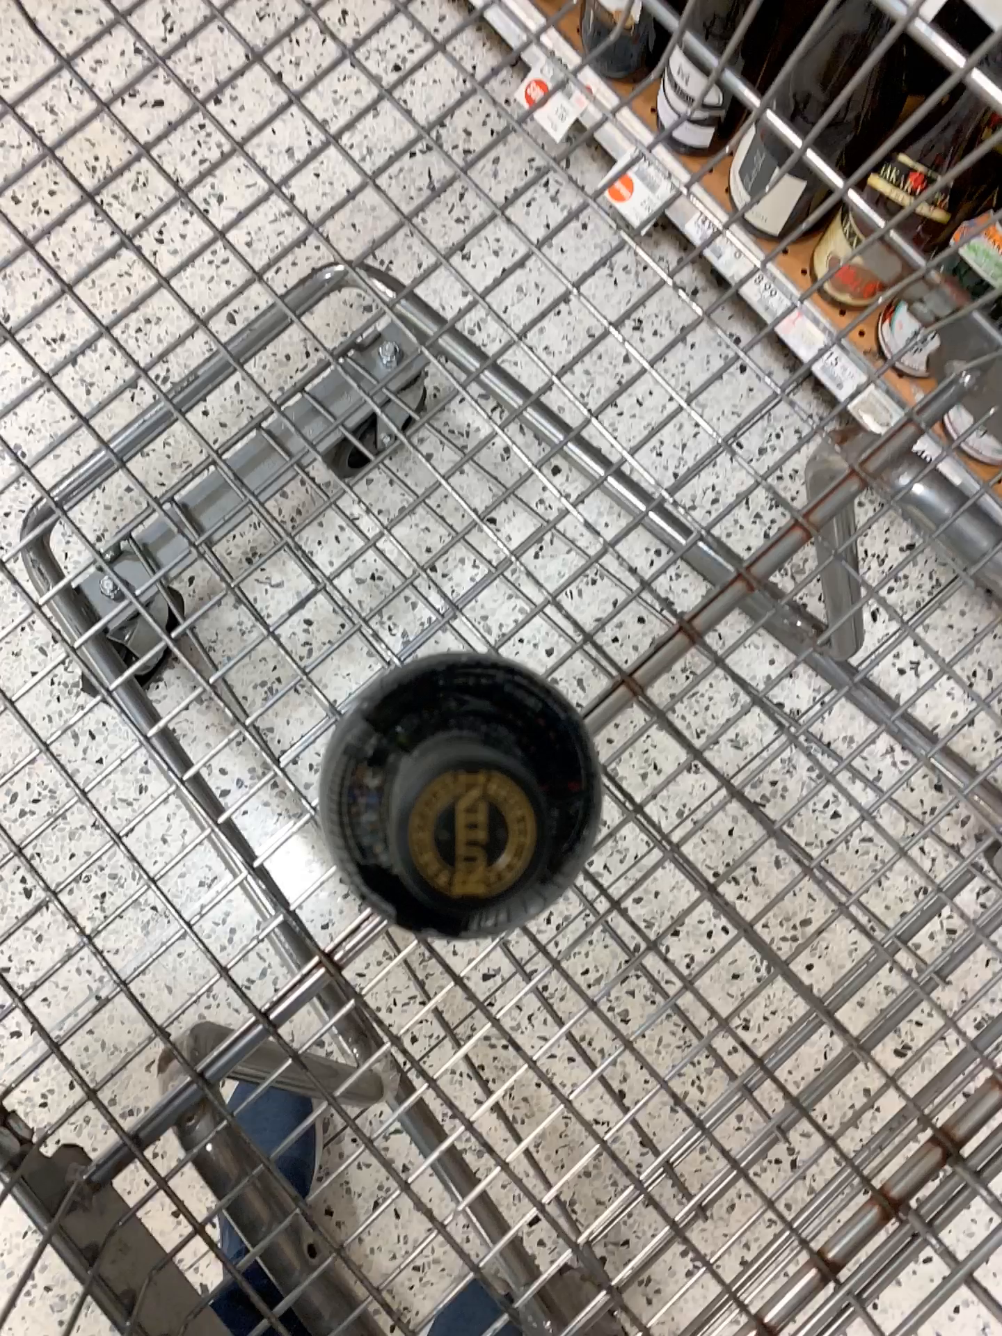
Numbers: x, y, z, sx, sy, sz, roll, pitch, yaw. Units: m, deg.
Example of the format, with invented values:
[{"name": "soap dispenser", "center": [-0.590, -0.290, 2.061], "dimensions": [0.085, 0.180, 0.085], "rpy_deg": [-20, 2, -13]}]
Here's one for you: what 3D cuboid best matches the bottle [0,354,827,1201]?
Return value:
[{"name": "bottle", "center": [-0.017, 0.028, 0.312], "dimensions": [0.090, 0.300, 0.100], "rpy_deg": [-41, 87, -4]}]
